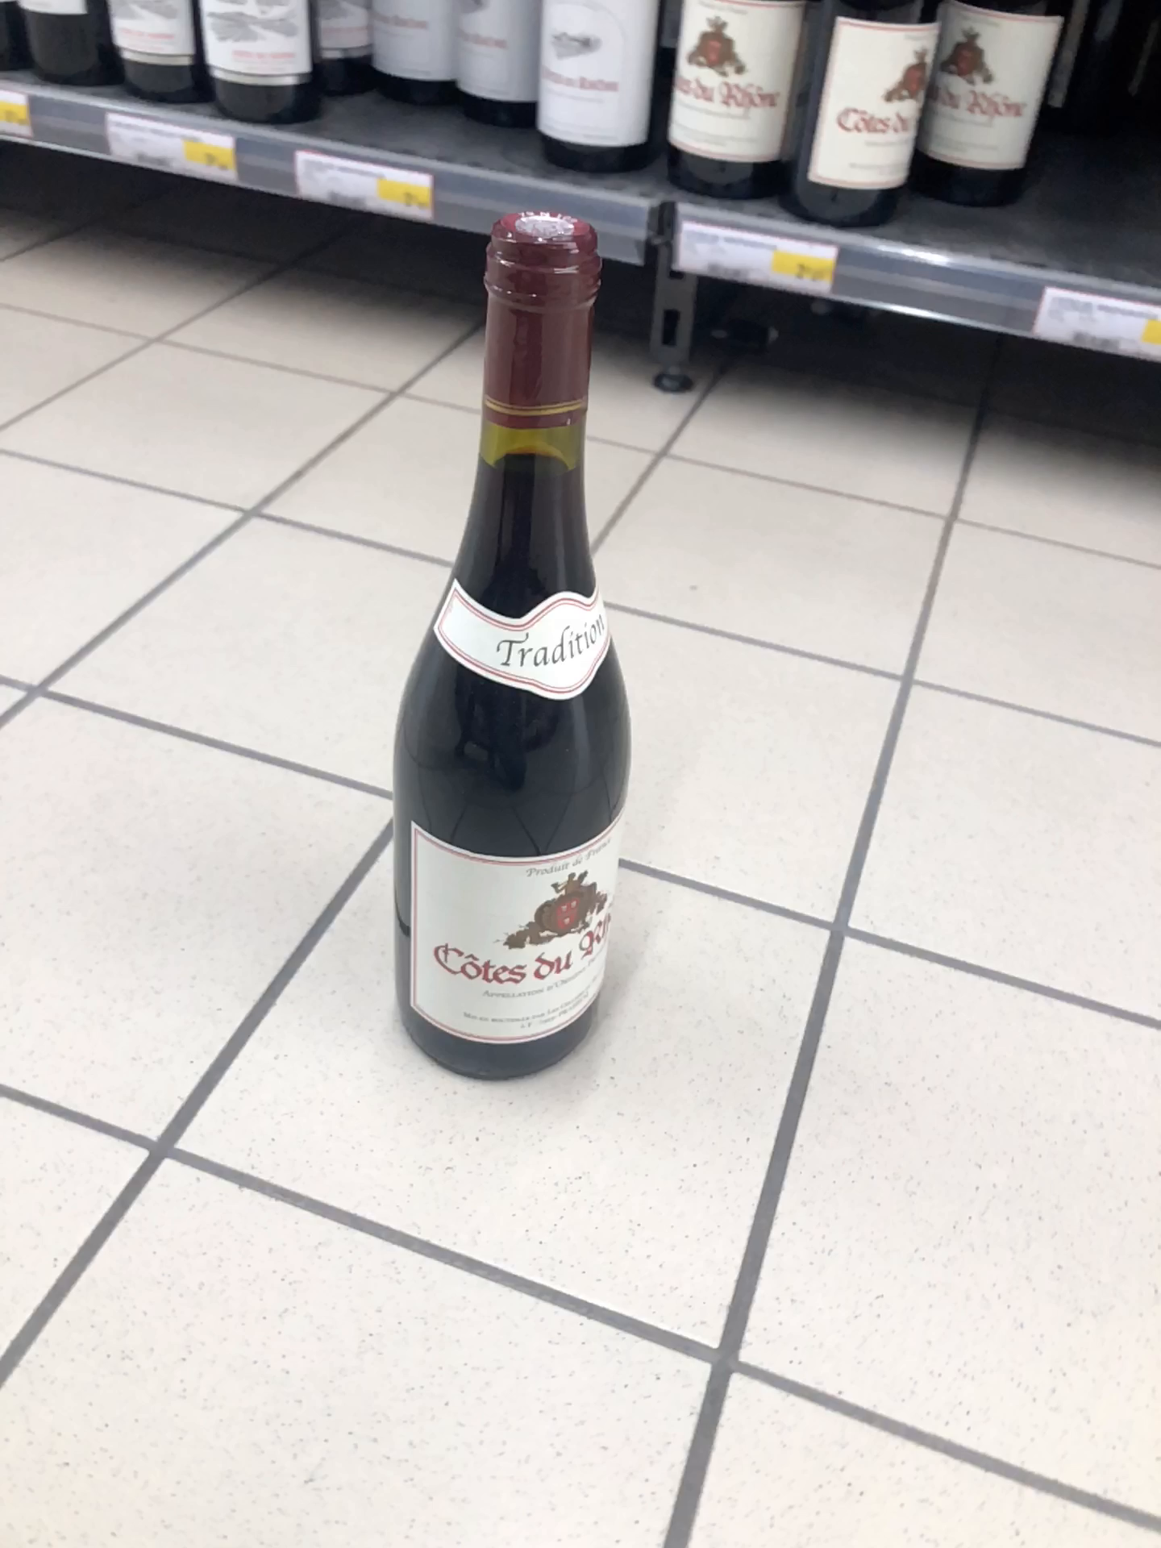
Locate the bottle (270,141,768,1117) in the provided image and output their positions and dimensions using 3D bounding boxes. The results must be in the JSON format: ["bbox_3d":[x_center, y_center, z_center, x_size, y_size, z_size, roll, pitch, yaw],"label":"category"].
[{"bbox_3d":[-0.027,-0.031,0.409,0.090,0.288,0.090,3,38,-3],"label":"bottle"}]
